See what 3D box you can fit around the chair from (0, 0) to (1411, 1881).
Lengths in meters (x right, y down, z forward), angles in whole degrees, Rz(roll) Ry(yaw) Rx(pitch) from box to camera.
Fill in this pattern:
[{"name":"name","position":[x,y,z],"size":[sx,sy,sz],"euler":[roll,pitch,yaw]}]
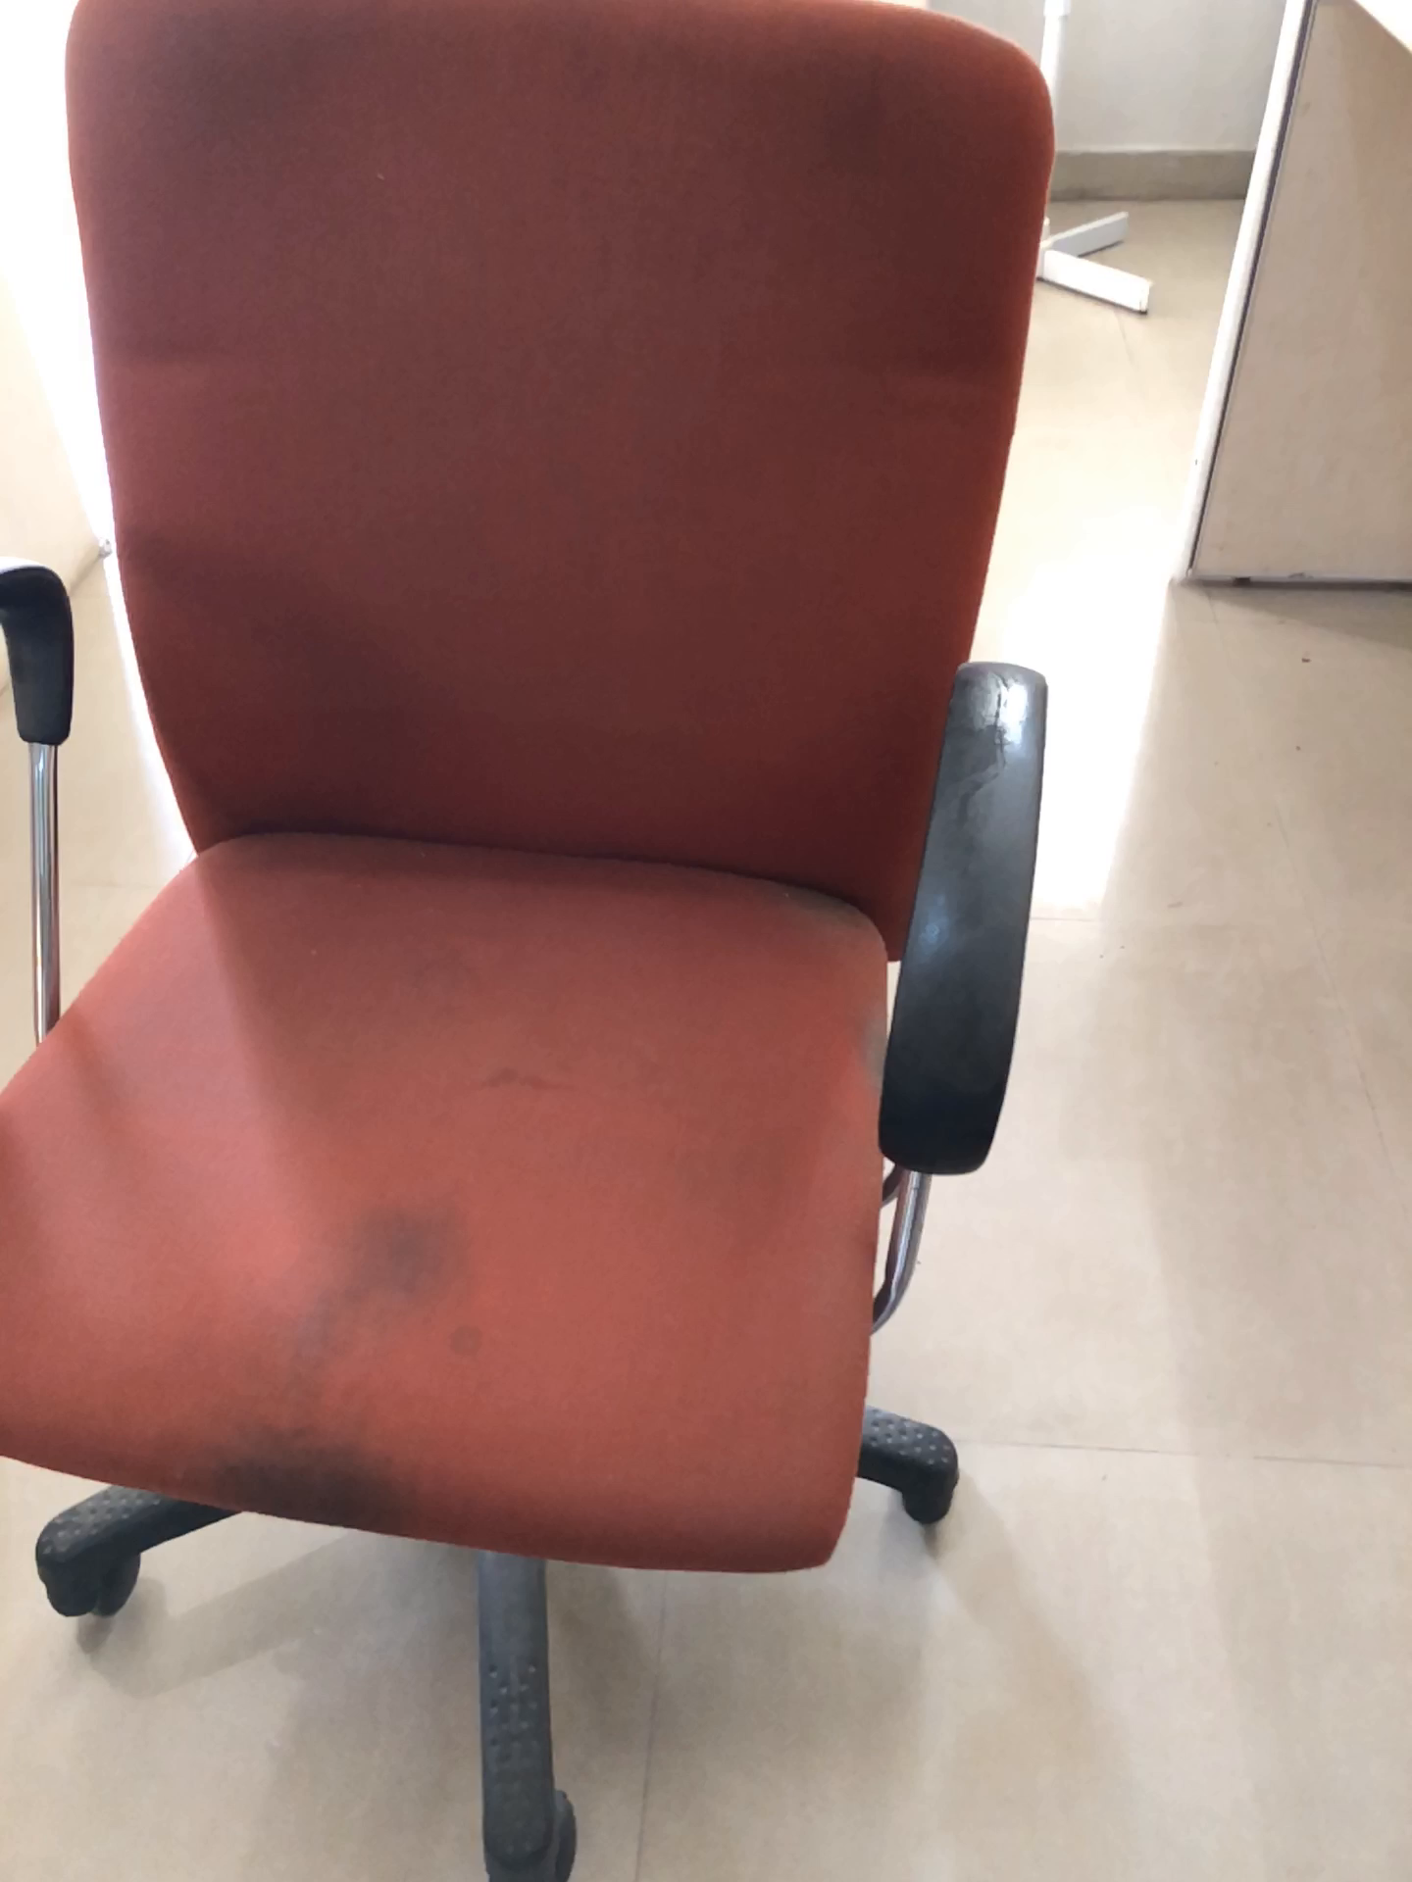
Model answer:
[{"name":"chair","position":[-0.134,0.063,0.947],"size":[0.770,1.043,0.705],"euler":[7,43,9]}]
